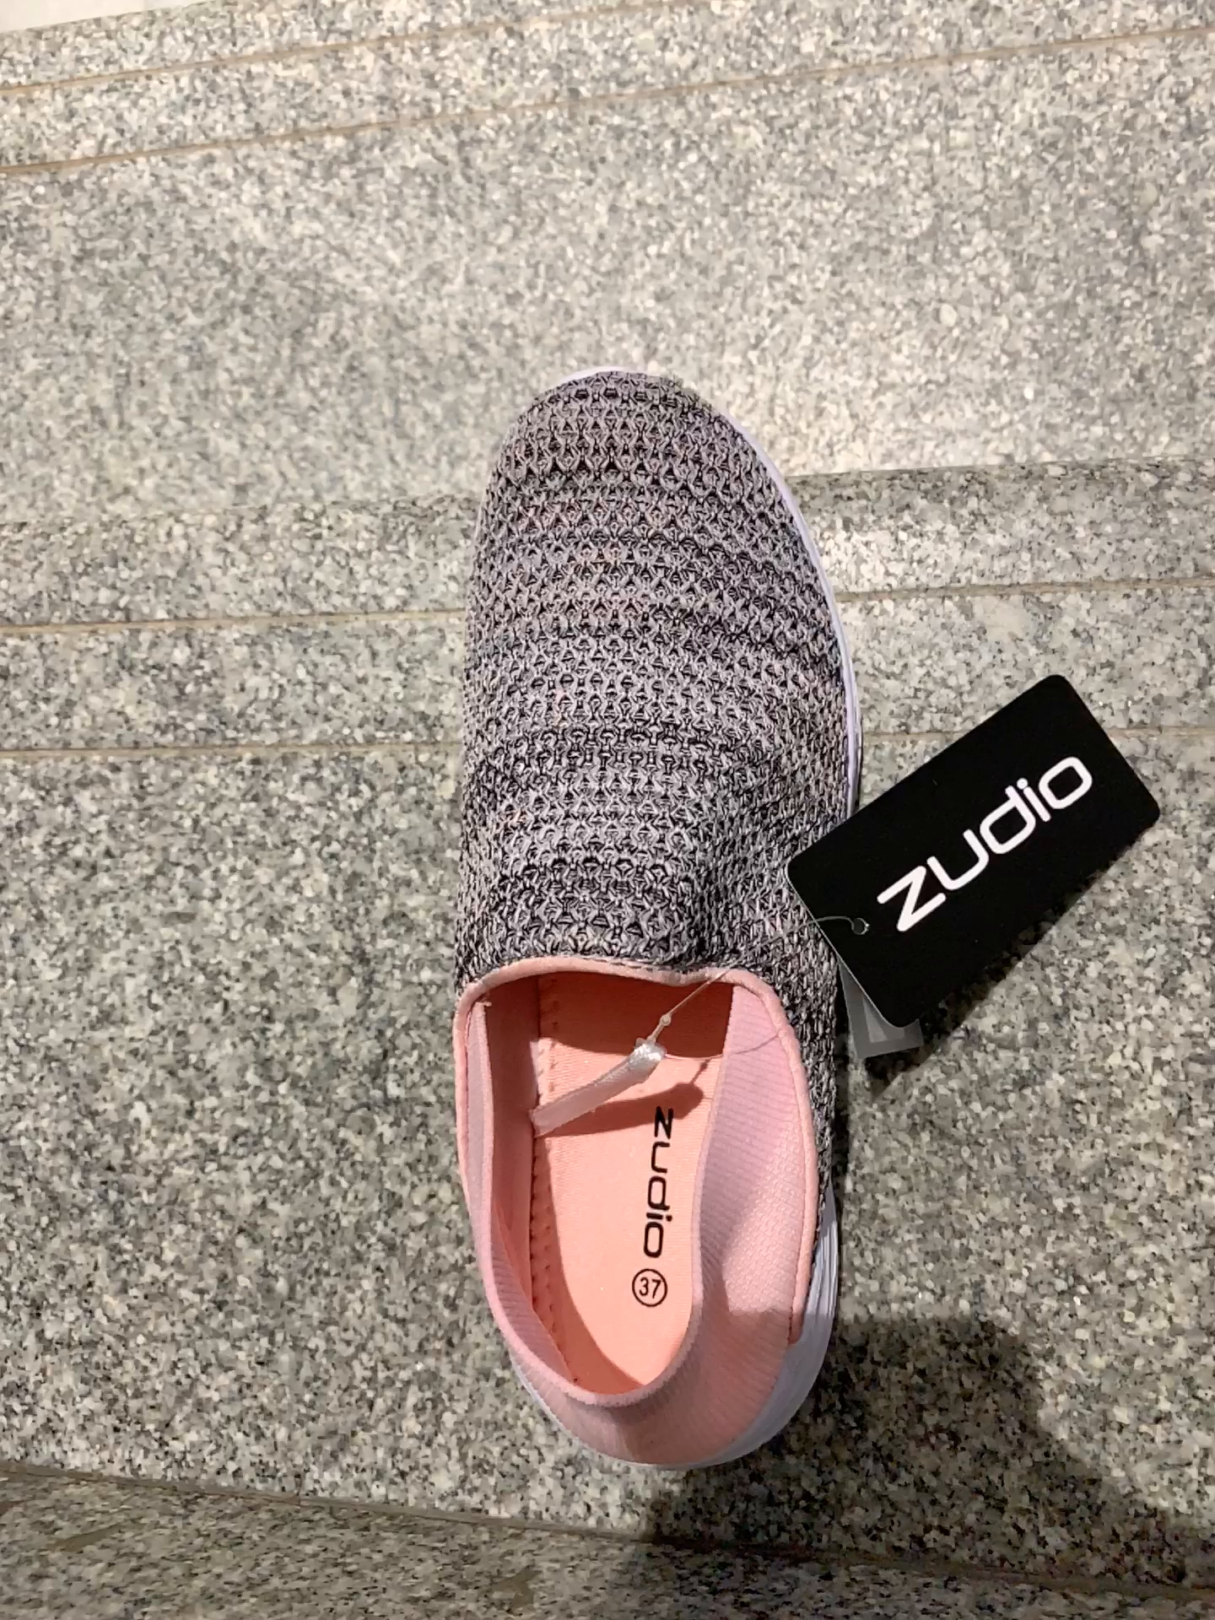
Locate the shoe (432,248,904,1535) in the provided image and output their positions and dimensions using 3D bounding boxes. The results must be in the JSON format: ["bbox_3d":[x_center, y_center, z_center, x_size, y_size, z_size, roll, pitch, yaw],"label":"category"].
[{"bbox_3d":[0.017,0.016,0.292,0.090,0.080,0.250,-2,87,11],"label":"shoe"}]
